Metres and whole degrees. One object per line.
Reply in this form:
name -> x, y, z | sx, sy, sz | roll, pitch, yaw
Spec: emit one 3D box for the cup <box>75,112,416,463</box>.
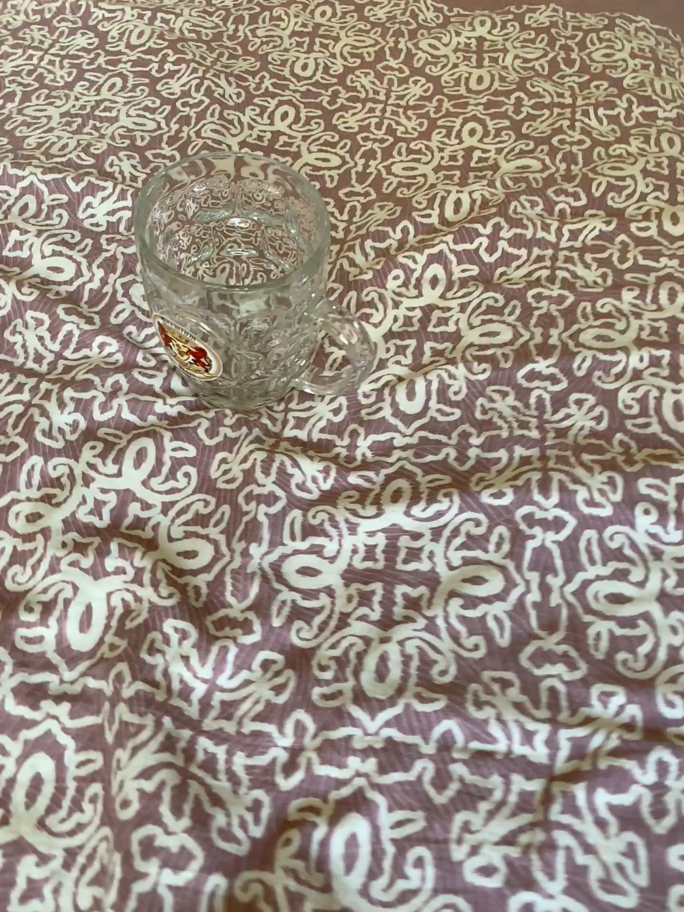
cup -> -0.043, -0.081, 0.350 | 0.117, 0.099, 0.093 | 26, 61, 10
